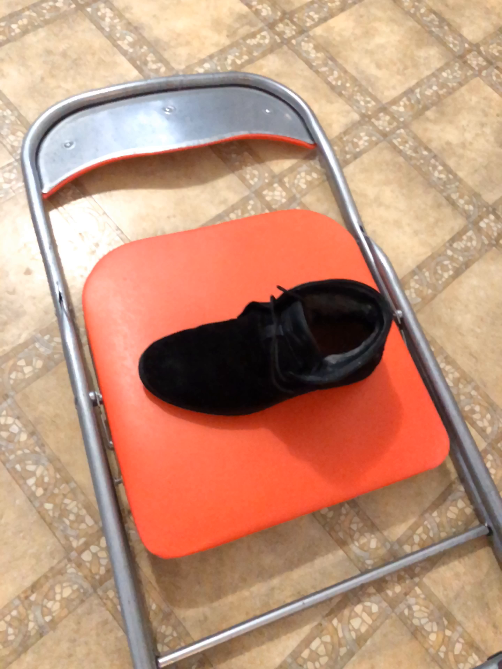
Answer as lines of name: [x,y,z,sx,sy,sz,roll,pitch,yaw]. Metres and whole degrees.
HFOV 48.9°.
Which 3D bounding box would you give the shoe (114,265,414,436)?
shoe: [0.006,0.020,0.581,0.270,0.130,0.110,-7,71,-11]
